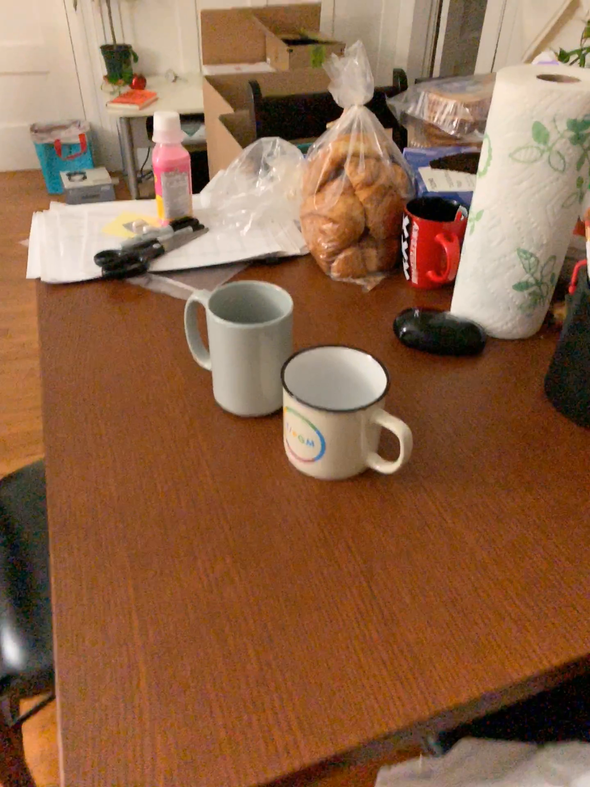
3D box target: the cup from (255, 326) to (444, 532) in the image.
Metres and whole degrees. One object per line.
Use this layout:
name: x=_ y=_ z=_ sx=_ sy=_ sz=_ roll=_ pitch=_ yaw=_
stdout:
cup: x=0.042 y=0.026 z=0.542 sx=0.100 sy=0.099 sz=0.131 roll=-24 pitch=45 yaw=-28

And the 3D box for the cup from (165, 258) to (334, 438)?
cup: x=-0.047 y=-0.051 z=0.608 sx=0.100 sy=0.099 sz=0.141 roll=-25 pitch=46 yaw=-28
